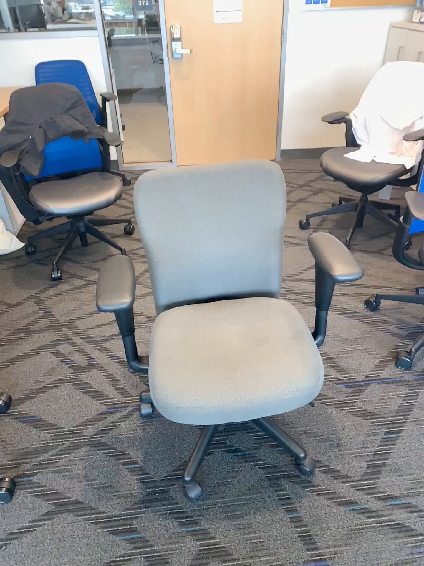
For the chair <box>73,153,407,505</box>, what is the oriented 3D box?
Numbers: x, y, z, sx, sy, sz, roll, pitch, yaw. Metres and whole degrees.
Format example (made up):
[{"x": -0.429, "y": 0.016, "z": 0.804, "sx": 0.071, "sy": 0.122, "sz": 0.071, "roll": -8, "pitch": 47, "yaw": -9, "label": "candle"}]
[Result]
[{"x": 0.049, "y": 0.116, "z": 1.361, "sx": 0.670, "sy": 0.813, "sz": 0.666, "roll": -4, "pitch": 34, "yaw": -3, "label": "chair"}]
